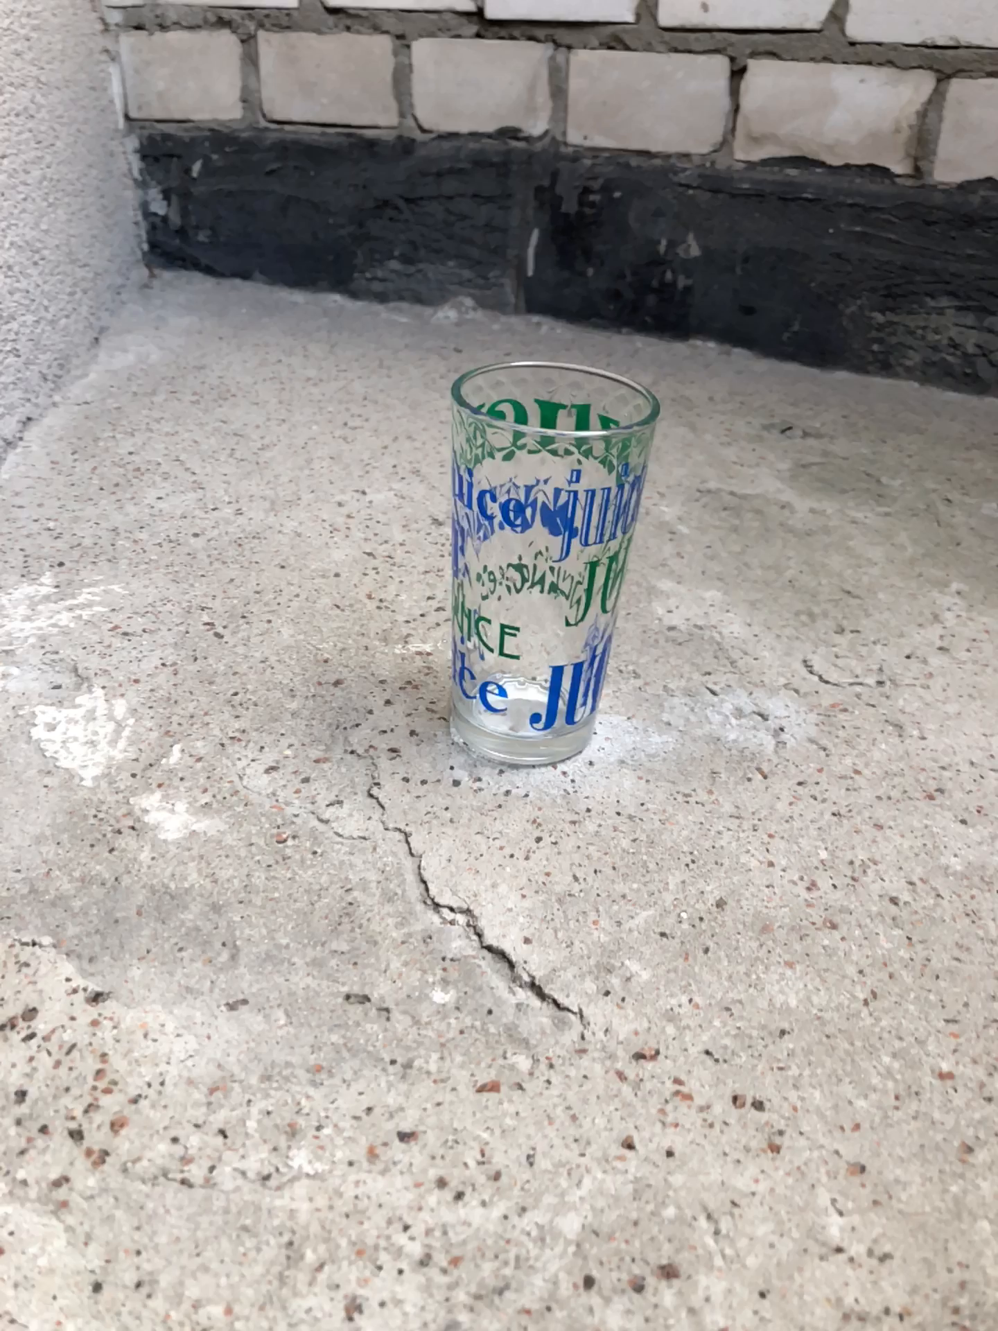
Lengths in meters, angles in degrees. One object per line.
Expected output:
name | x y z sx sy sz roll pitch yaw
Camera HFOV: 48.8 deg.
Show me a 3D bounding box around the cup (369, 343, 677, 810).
cup | 0.004 -0.031 0.365 0.067 0.125 0.066 3 31 -2
